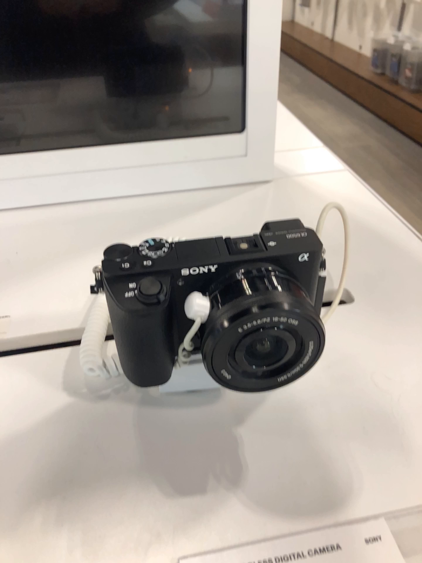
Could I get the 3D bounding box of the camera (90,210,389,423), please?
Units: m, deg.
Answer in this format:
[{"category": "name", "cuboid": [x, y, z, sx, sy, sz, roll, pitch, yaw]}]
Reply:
[{"category": "camera", "cuboid": [0.010, 0.015, 0.261, 0.140, 0.070, 0.070, -8, 37, -10]}]
